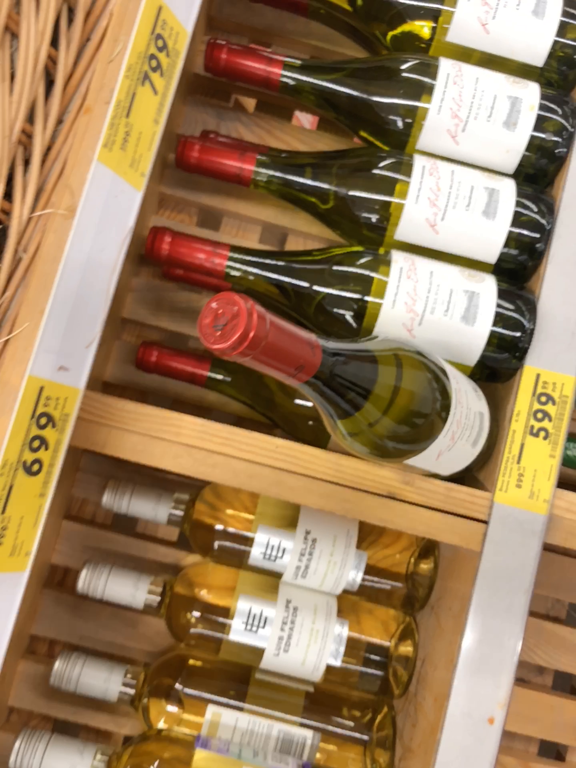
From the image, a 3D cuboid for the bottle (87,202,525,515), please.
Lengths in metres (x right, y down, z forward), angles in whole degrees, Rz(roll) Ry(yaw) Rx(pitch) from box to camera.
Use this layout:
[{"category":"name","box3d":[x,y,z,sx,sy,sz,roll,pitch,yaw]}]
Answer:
[{"category":"bottle","box3d":[0.040,0.003,0.397,0.100,0.289,0.100,-13,68,34]}]
